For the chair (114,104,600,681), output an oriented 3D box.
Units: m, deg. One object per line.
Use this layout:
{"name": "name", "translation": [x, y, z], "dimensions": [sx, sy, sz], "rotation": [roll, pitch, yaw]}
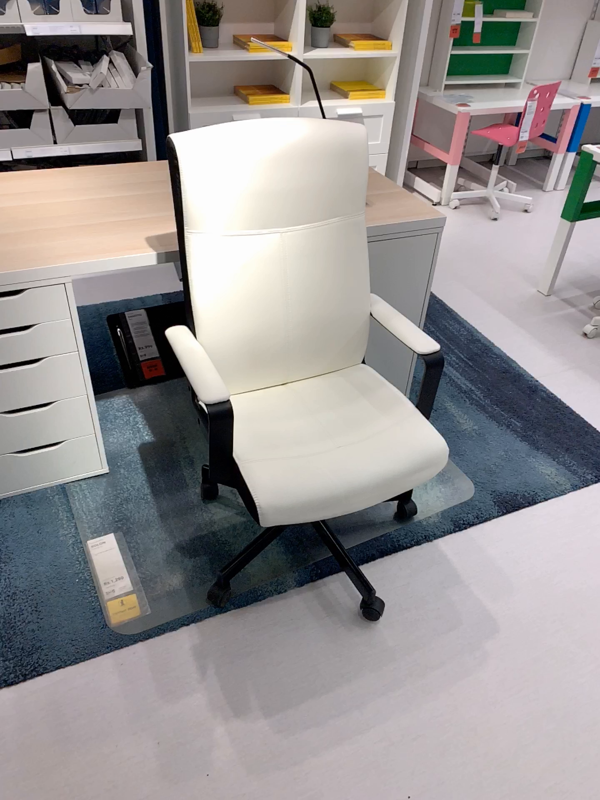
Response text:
{"name": "chair", "translation": [0.060, -0.053, 1.380], "dimensions": [0.690, 0.956, 0.703], "rotation": [-13, 41, -21]}
